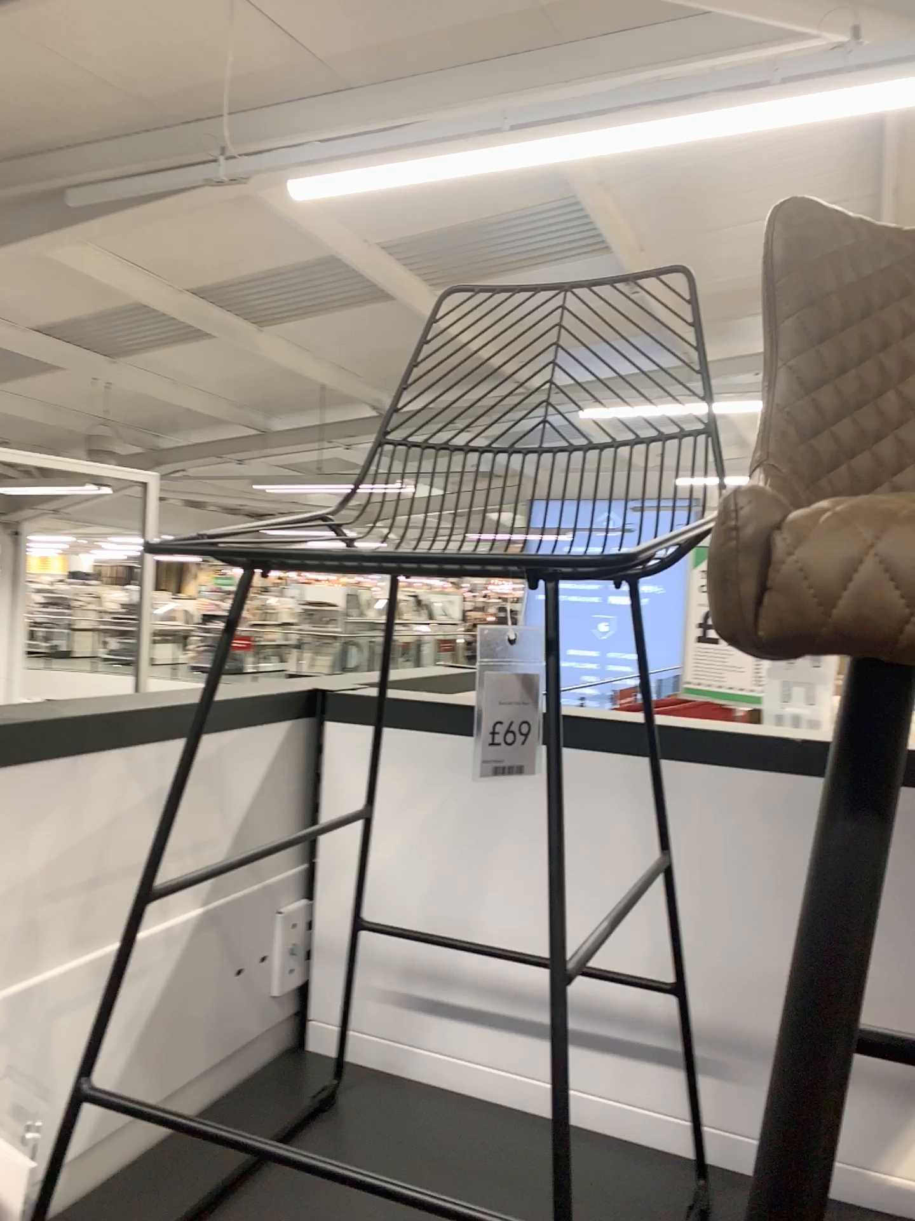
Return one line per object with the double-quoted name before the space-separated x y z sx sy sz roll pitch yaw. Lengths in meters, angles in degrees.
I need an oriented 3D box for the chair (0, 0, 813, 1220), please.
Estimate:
"chair" 0.001 0.085 0.796 0.508 0.968 0.528 3 1 23
